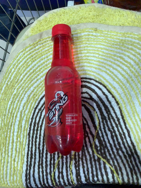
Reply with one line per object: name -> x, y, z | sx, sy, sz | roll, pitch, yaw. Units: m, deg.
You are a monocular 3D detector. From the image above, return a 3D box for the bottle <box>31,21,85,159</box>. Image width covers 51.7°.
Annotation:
bottle -> -0.016, -0.006, 0.203 | 0.060, 0.040, 0.170 | -4, 84, 6
